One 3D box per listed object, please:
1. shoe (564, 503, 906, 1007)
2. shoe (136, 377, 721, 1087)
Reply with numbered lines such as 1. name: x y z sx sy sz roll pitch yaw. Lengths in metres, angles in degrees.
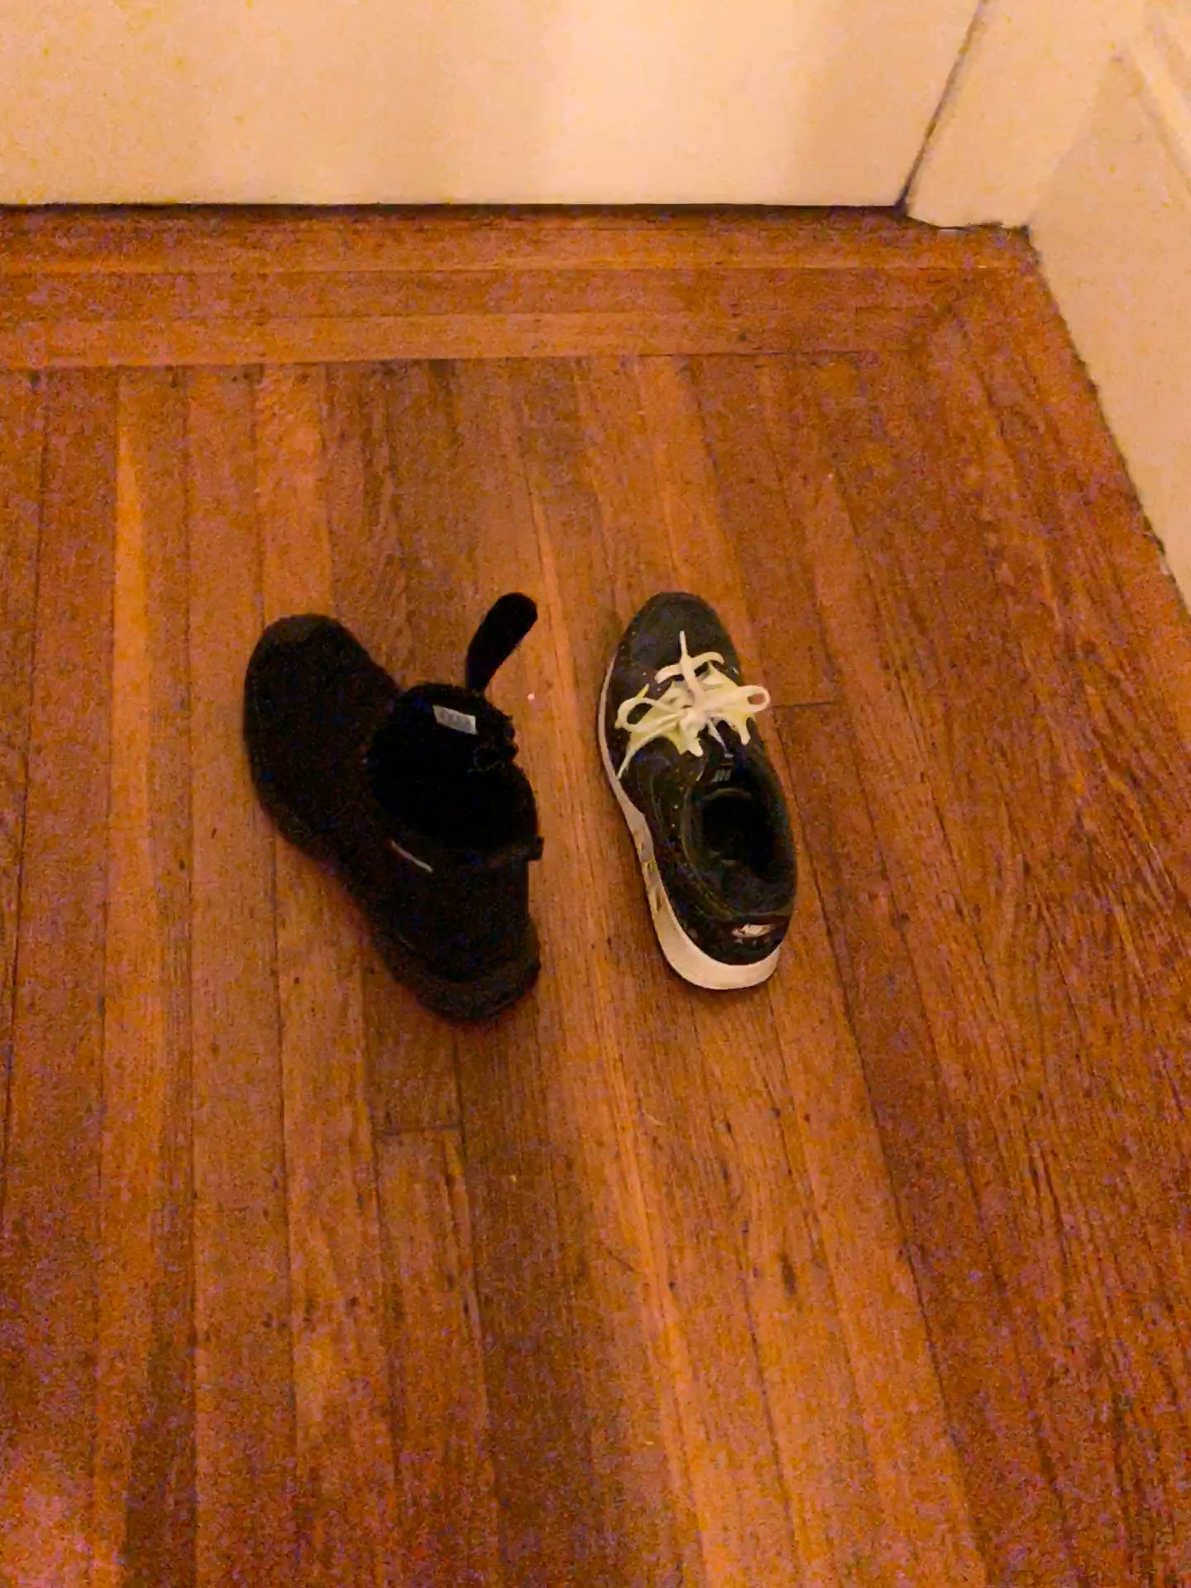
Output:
1. shoe: 0.075 -0.030 0.765 0.120 0.100 0.291 -9 65 -12
2. shoe: -0.105 -0.027 0.721 0.160 0.239 0.311 -28 71 -20
